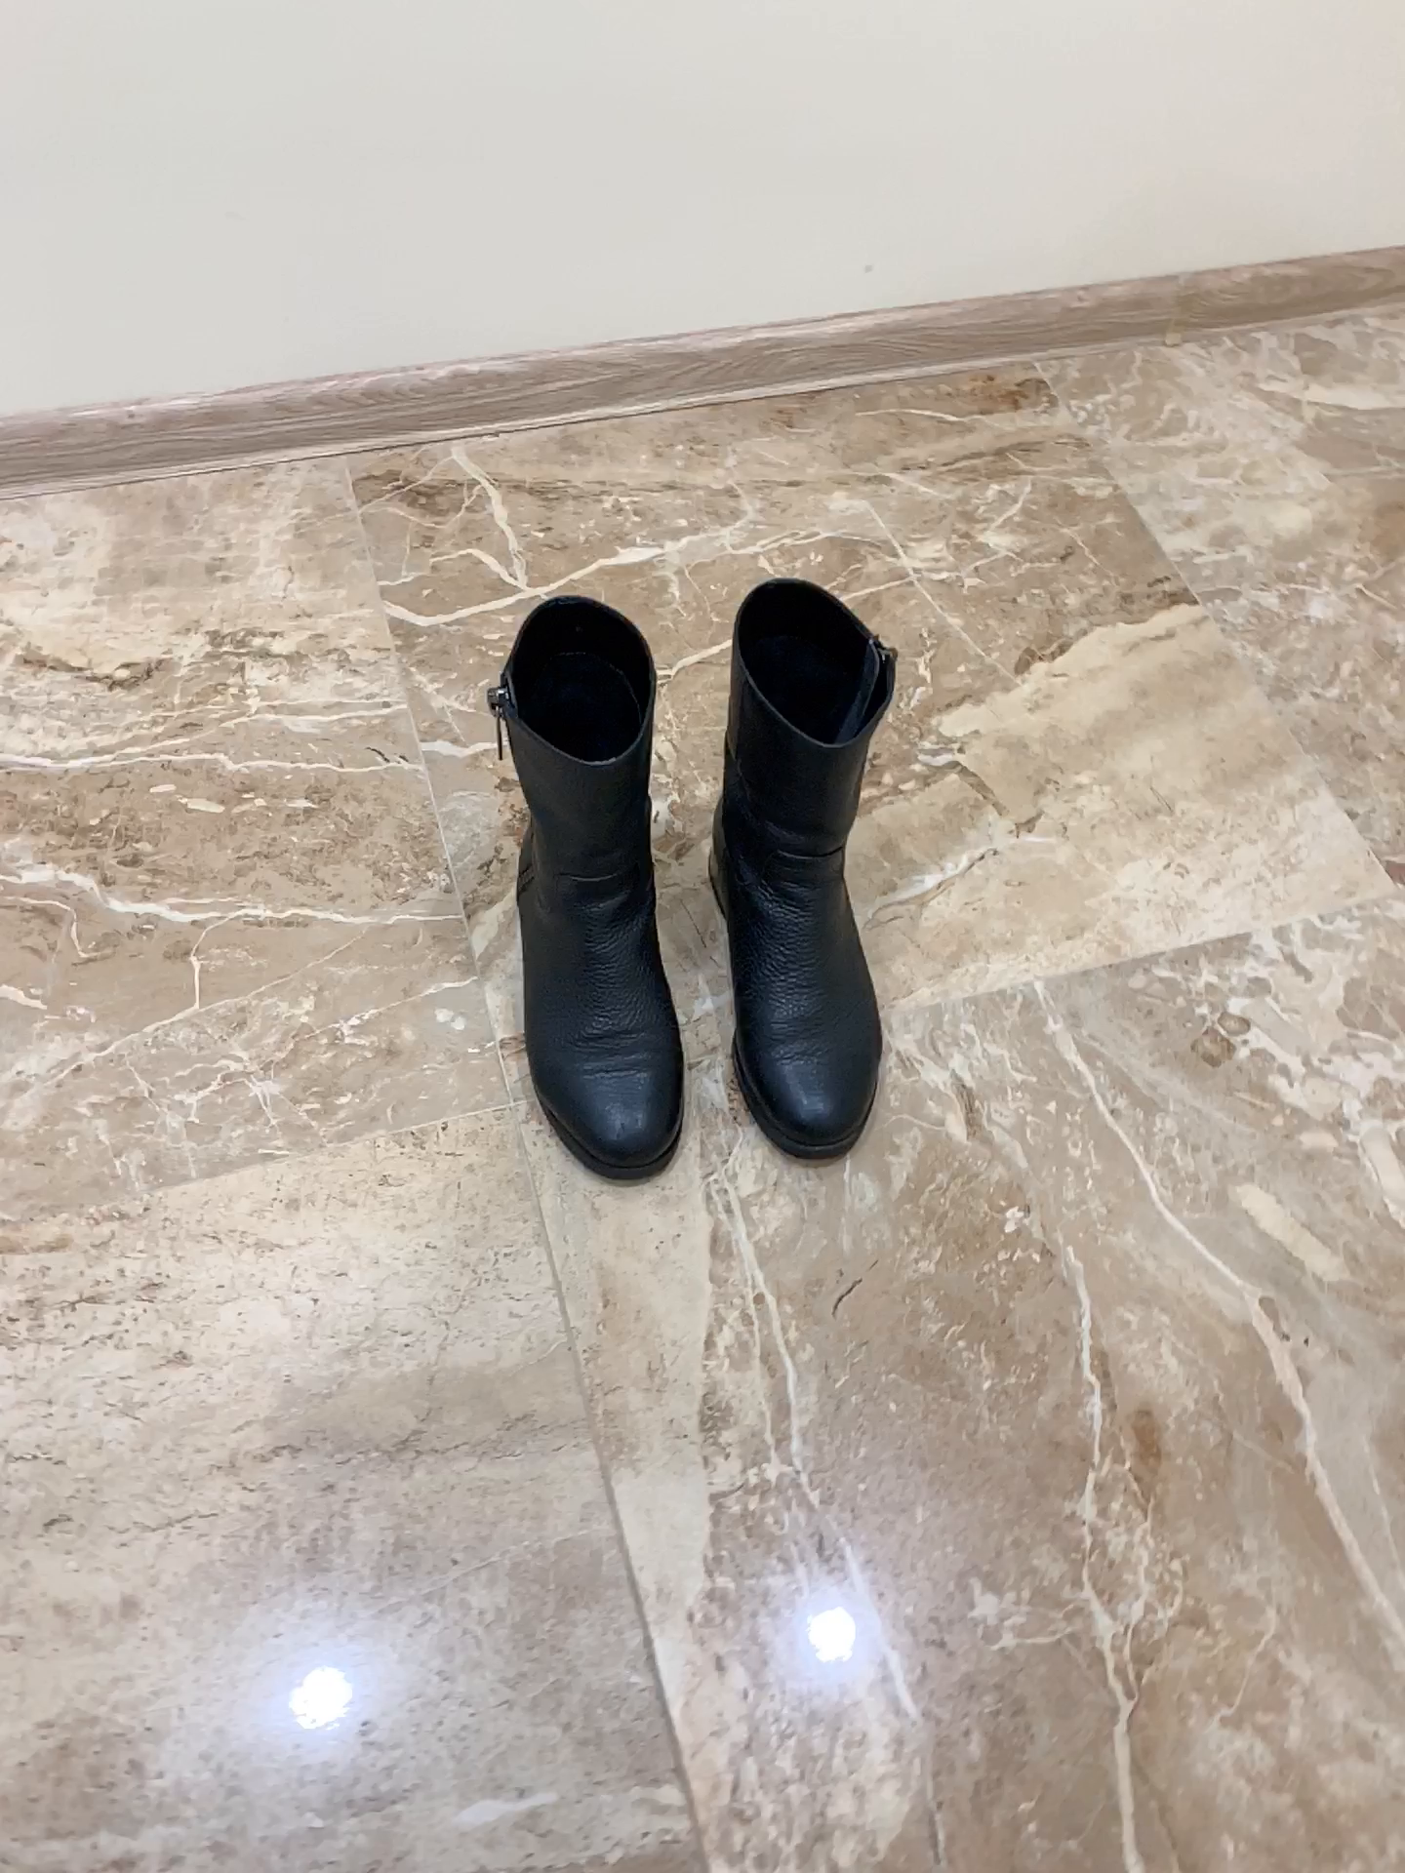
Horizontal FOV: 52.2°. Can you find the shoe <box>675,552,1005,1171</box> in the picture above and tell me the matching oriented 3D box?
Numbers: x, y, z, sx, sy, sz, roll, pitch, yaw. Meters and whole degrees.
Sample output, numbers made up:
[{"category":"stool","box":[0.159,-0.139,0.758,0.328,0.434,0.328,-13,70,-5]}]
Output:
[{"category":"shoe","box":[0.059,-0.040,0.795,0.090,0.209,0.261,-7,57,-10]}]

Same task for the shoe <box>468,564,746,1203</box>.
[{"category":"shoe","box":[-0.059,-0.027,0.770,0.090,0.209,0.261,-7,57,-10]}]
